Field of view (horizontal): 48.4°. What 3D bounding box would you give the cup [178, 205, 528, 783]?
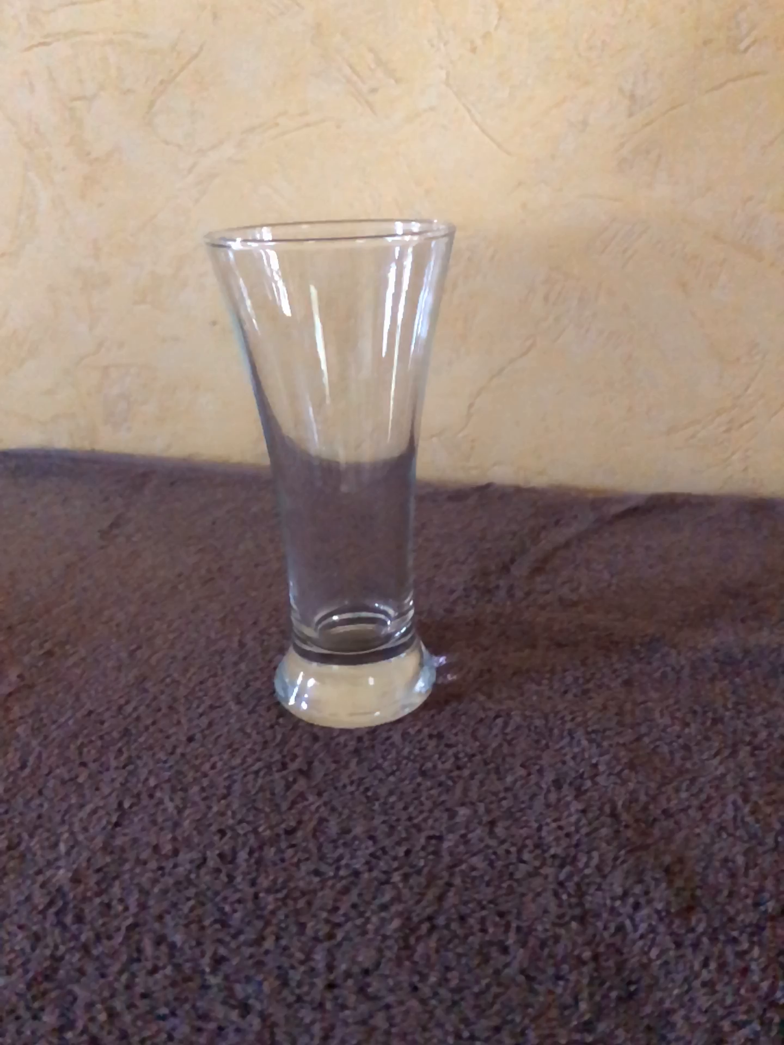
[{"bbox_3d":[-0.010,-0.013,0.263,0.080,0.149,0.080,-2,22,1],"label":"cup"}]
